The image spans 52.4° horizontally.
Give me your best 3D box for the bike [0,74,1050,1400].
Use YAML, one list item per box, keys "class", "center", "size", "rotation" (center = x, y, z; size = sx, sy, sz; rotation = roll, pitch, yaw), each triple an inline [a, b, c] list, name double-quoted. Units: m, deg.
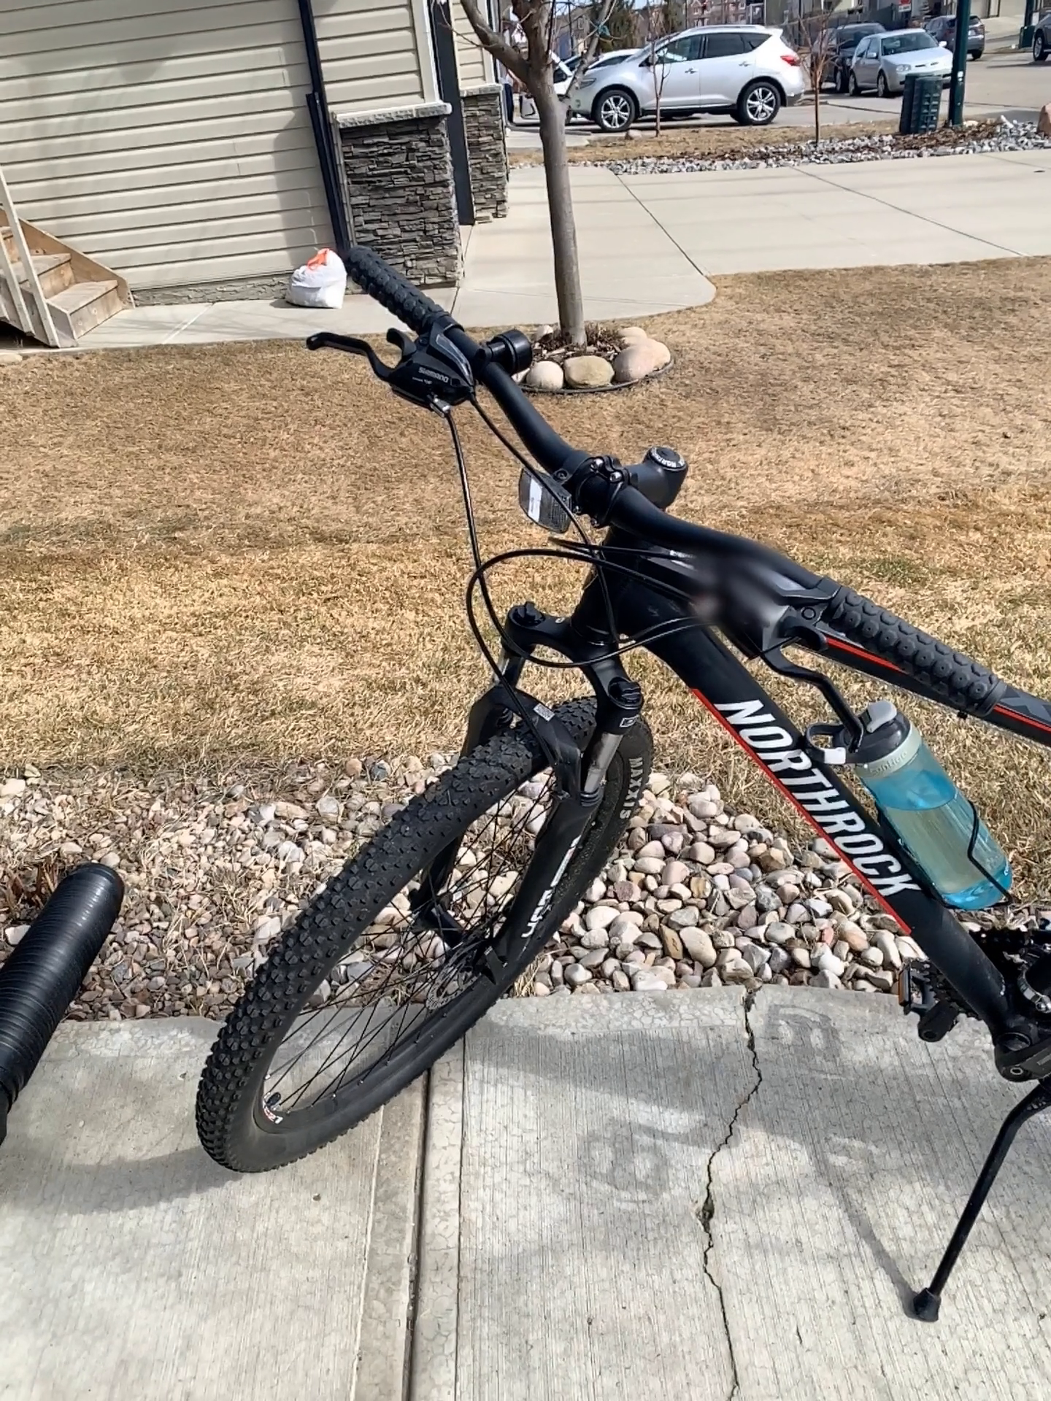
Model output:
- class: "bike"
  center: [0.394, 0.209, 0.900]
  size: [1.479, 1.005, 0.603]
  rotation: [-3, 30, 13]
